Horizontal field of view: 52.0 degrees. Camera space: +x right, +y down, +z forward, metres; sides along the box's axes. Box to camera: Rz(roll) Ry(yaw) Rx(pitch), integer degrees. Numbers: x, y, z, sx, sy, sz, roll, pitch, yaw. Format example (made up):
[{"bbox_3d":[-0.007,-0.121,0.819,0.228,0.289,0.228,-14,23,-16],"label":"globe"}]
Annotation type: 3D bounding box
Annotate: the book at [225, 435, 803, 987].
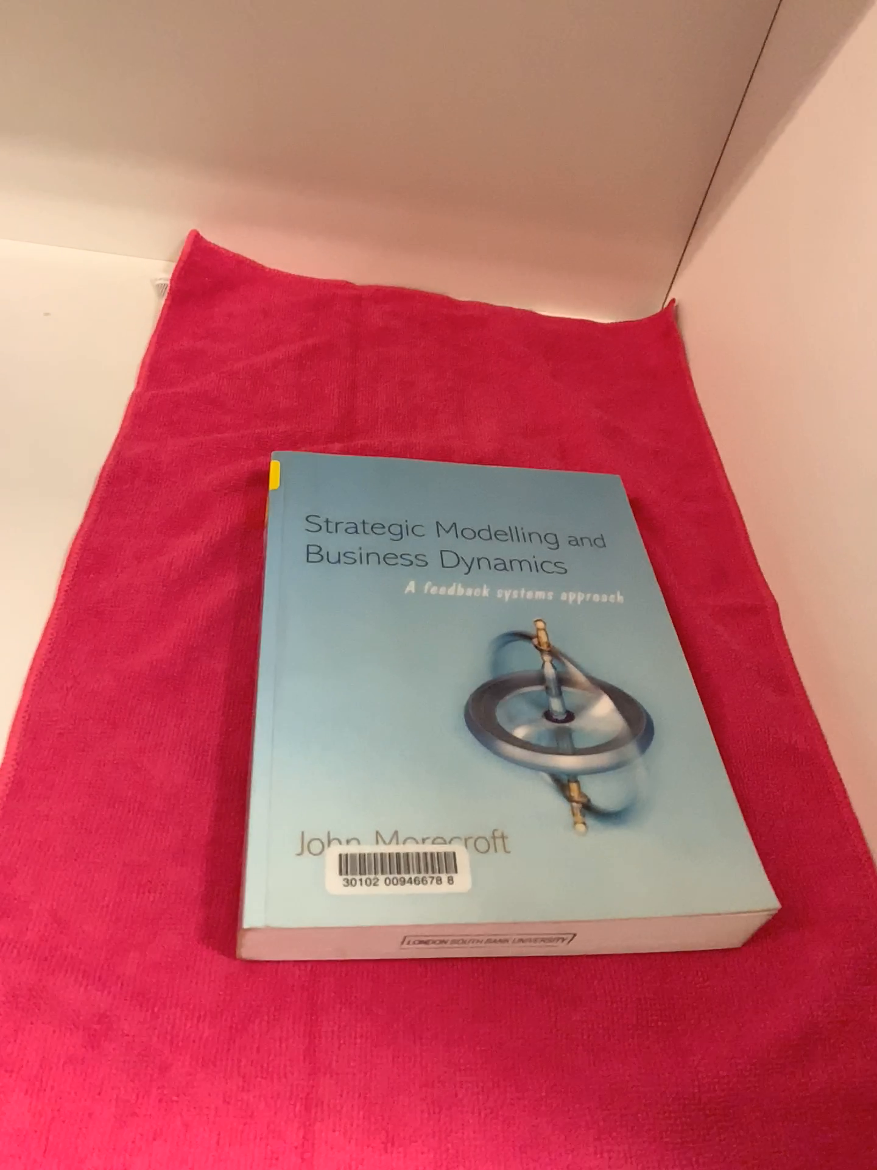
[{"bbox_3d":[0.016,0.033,0.387,0.193,0.033,0.252,3,46,-10],"label":"book"}]
